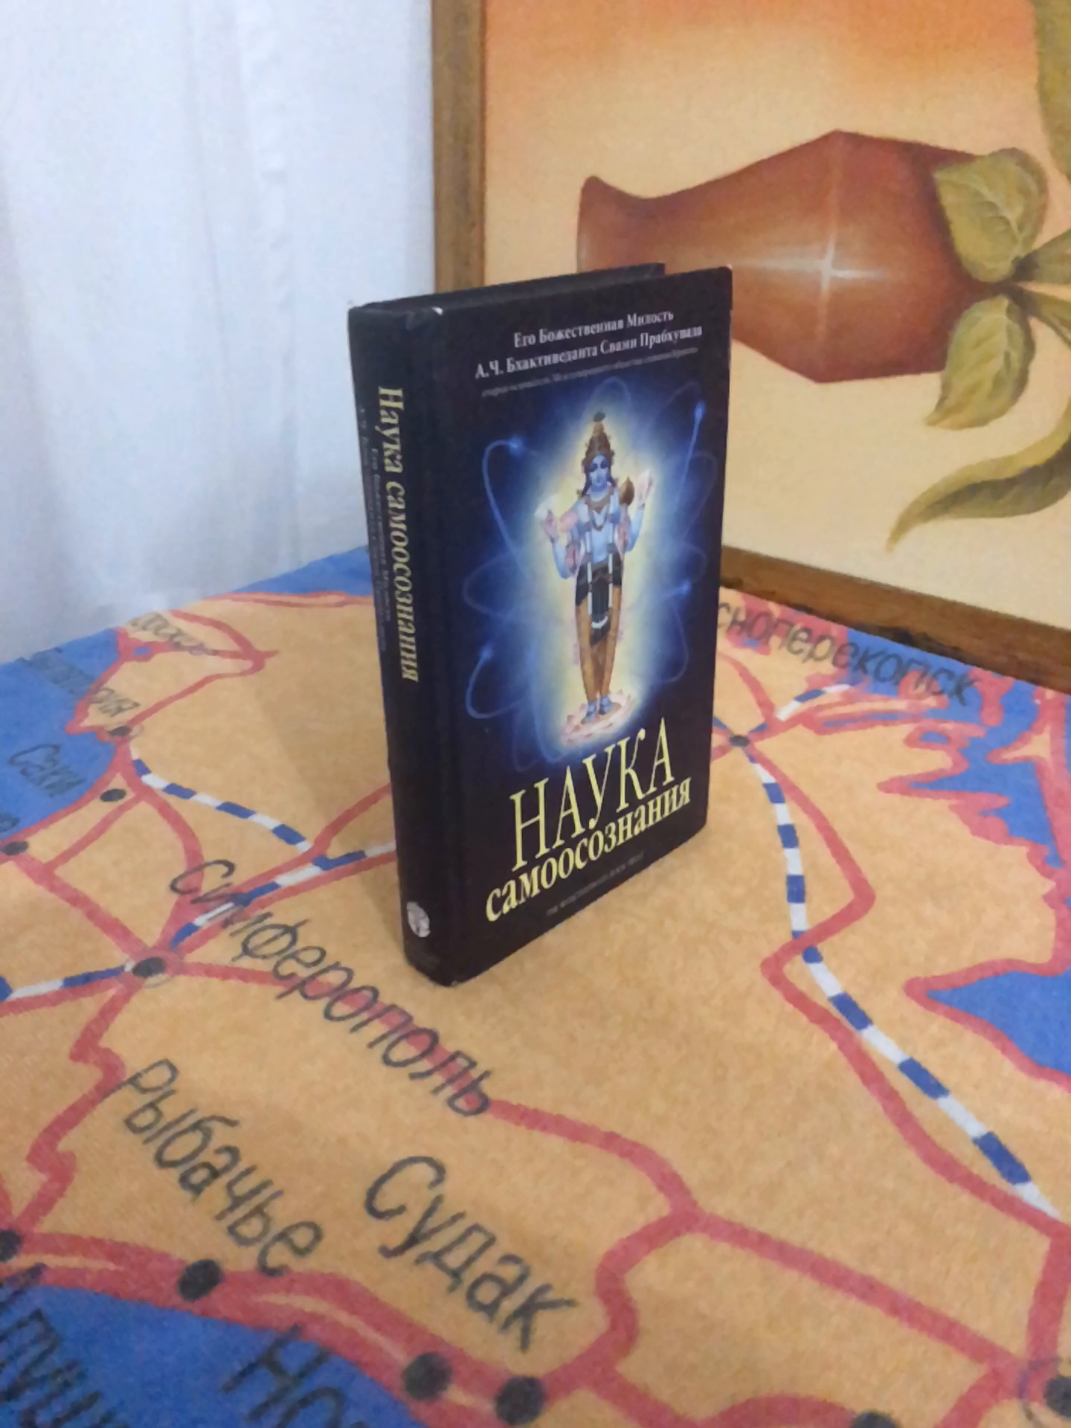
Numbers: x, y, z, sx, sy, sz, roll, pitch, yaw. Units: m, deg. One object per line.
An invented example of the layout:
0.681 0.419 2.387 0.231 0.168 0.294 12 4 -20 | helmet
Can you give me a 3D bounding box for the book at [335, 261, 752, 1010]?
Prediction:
0.013 -0.029 0.376 0.030 0.205 0.141 20 33 40 | book
